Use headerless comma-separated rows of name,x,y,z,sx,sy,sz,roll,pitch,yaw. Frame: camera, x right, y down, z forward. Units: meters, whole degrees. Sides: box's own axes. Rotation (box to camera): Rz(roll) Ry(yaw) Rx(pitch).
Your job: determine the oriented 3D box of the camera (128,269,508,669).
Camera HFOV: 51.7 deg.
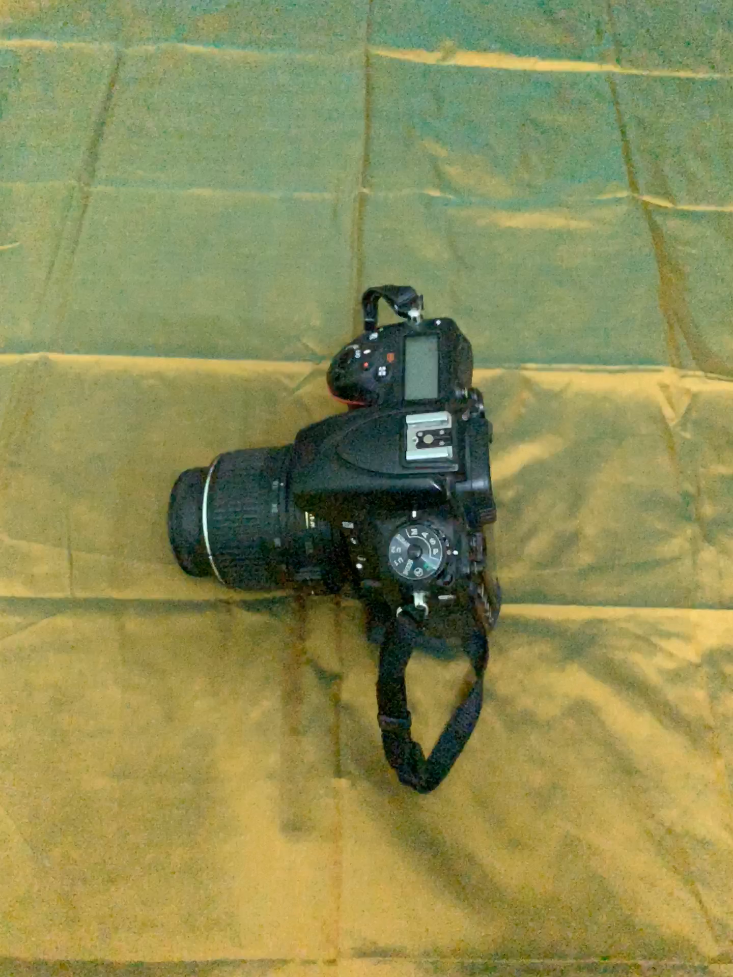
camera,-0.009,0.000,0.354,0.131,0.120,0.135,-5,61,14
